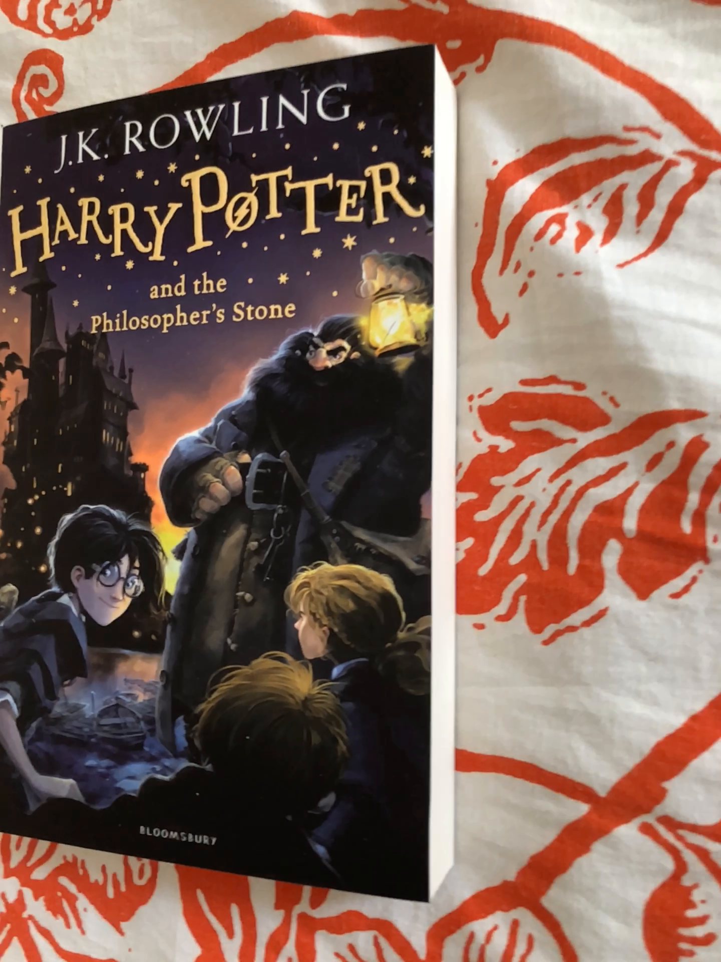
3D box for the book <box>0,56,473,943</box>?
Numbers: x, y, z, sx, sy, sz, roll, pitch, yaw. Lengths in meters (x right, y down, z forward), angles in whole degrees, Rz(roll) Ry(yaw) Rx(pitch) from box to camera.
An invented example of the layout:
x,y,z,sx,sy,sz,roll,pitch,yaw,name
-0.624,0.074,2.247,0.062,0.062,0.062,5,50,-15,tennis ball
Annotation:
x,y,z,sx,sy,sz,roll,pitch,yaw,name
-0.041,0.001,0.201,0.127,0.020,0.189,2,88,19,book
